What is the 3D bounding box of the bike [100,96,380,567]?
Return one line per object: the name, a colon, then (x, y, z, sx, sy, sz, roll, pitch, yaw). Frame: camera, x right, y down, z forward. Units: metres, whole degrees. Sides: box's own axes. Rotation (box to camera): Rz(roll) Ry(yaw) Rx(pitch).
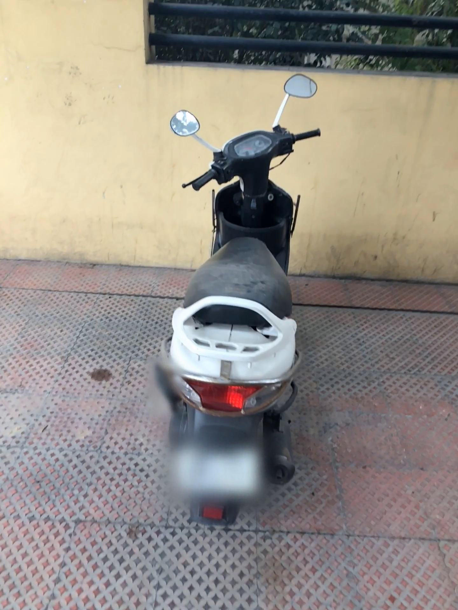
bike: (0.032, -0.064, 1.956, 0.599, 1.081, 1.482, 4, 33, 1)
